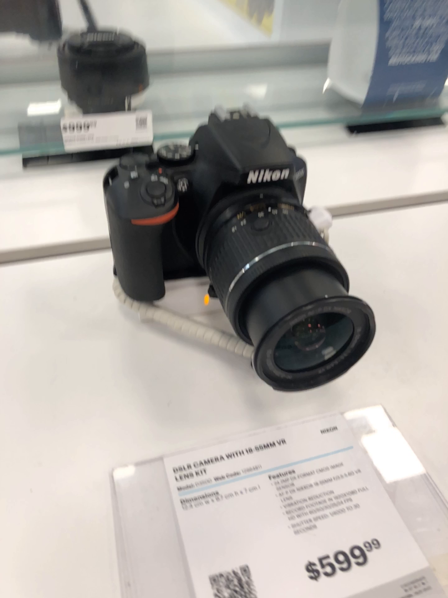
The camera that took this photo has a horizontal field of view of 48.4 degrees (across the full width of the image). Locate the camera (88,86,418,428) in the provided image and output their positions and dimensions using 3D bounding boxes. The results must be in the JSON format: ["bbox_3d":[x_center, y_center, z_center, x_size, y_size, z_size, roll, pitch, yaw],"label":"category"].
[{"bbox_3d":[-0.002,-0.039,0.287,0.120,0.100,0.170,-10,42,-13],"label":"camera"}]
